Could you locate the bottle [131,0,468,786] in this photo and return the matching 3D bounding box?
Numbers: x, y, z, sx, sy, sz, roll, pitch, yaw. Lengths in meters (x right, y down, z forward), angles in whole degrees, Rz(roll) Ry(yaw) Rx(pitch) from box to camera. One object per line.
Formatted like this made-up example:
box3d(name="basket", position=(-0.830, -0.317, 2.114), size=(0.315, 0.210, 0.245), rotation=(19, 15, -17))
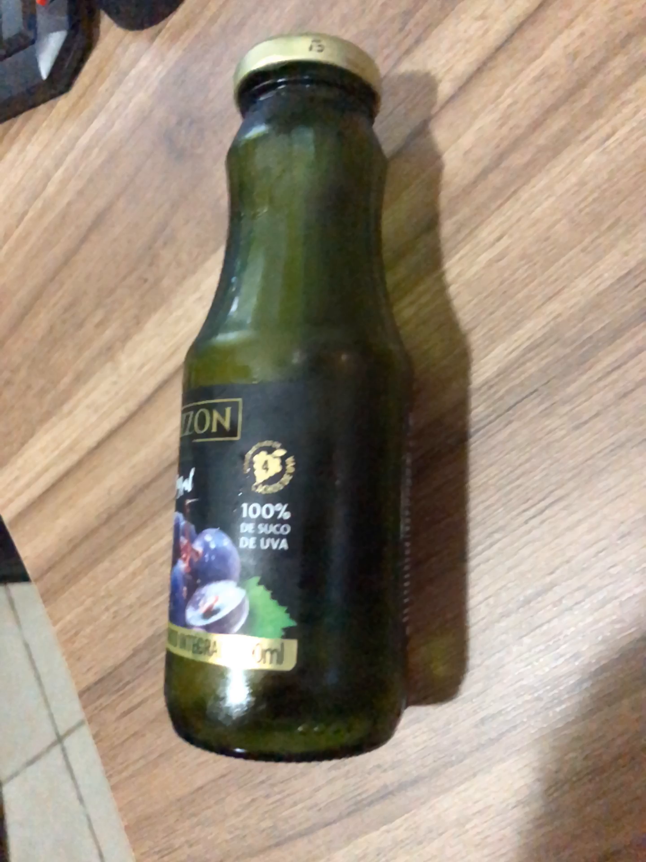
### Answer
box3d(name="bottle", position=(-0.009, -0.022, 0.203), size=(0.070, 0.070, 0.200), rotation=(166, 107, -69))
